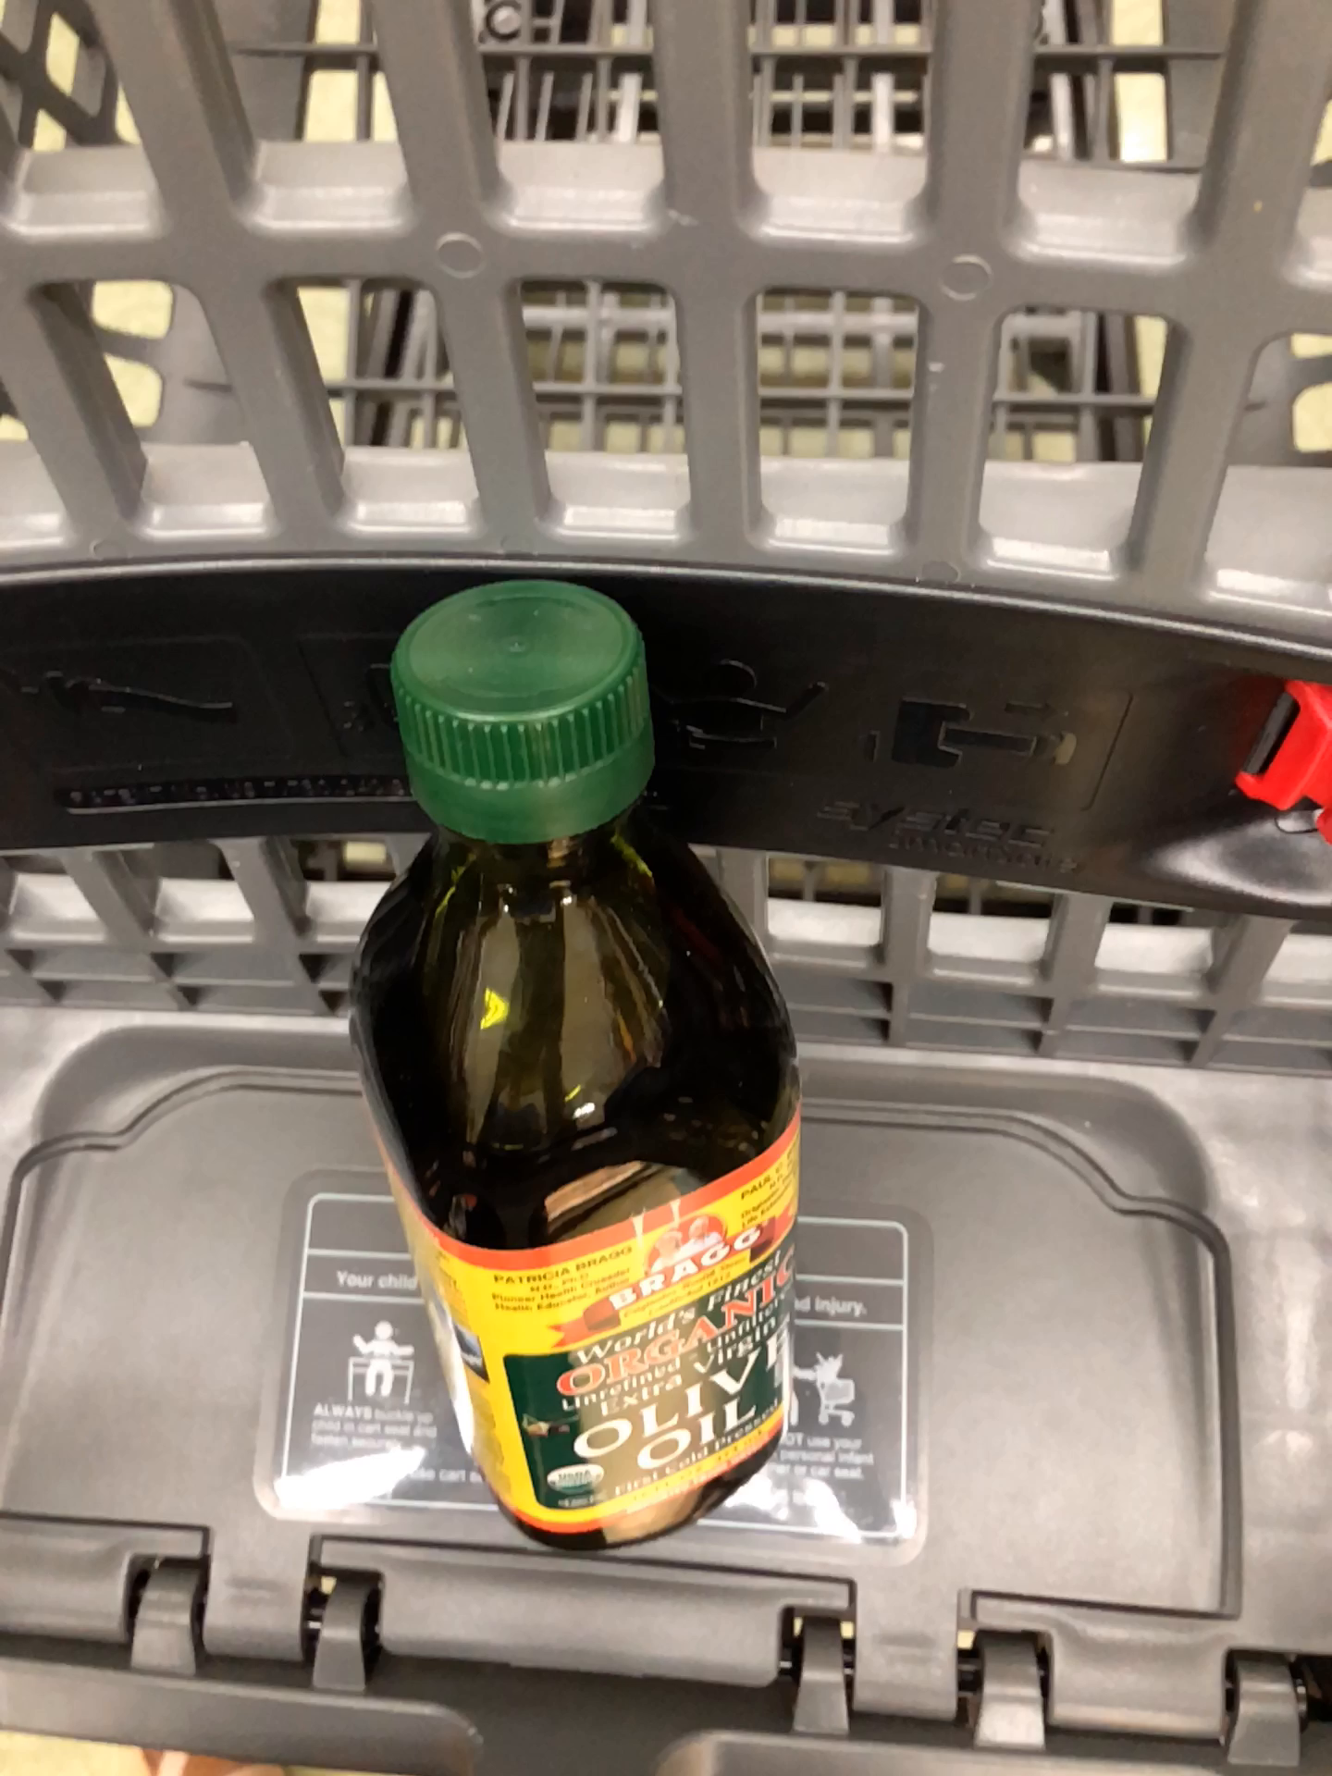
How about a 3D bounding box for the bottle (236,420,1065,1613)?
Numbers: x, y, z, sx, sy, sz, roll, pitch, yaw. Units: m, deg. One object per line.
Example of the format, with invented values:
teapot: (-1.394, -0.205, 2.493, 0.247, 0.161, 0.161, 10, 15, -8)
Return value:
bottle: (-0.004, 0.035, 0.252, 0.080, 0.193, 0.070, -20, 47, -19)
